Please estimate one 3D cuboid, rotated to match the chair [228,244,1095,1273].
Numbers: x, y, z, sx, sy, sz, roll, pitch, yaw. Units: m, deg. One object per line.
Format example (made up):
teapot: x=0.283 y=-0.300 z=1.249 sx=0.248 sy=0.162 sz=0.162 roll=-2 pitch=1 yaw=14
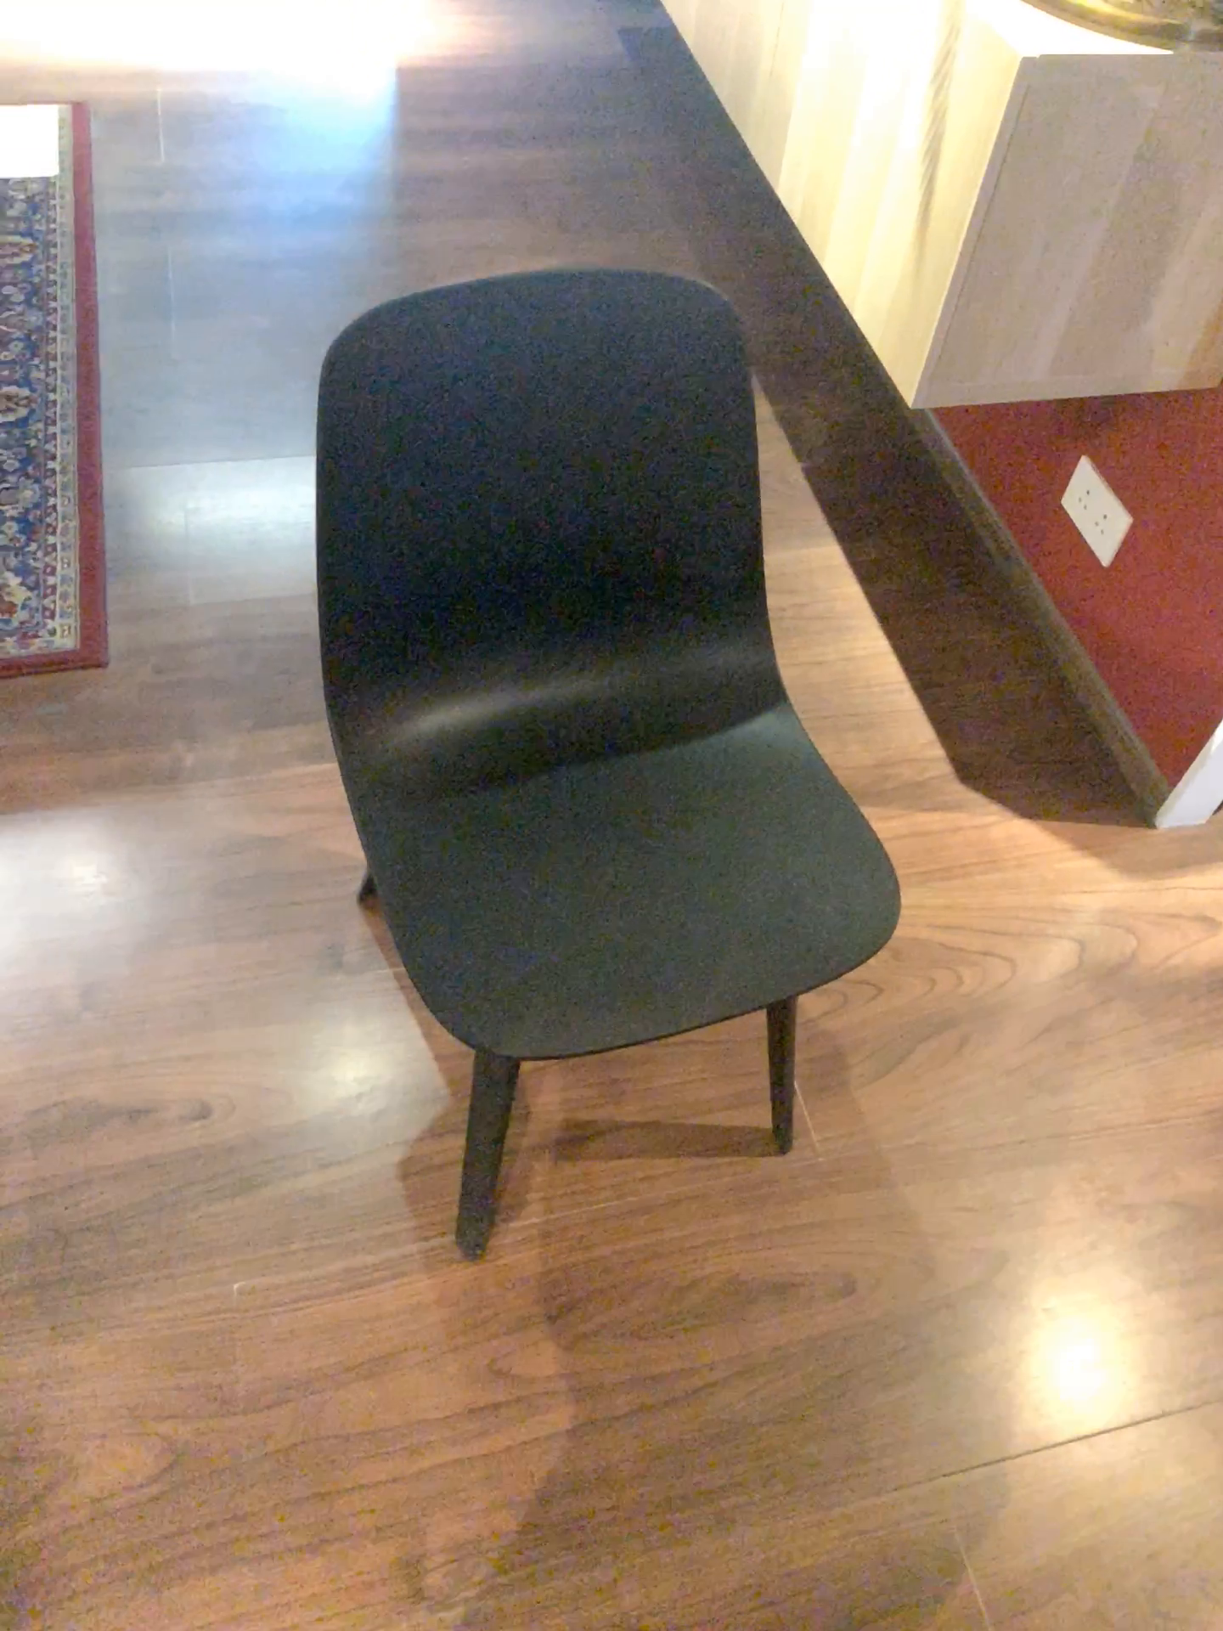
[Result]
chair: x=-0.026 y=-0.020 z=1.144 sx=0.440 sy=0.718 sz=0.531 roll=-13 pitch=55 yaw=-16
